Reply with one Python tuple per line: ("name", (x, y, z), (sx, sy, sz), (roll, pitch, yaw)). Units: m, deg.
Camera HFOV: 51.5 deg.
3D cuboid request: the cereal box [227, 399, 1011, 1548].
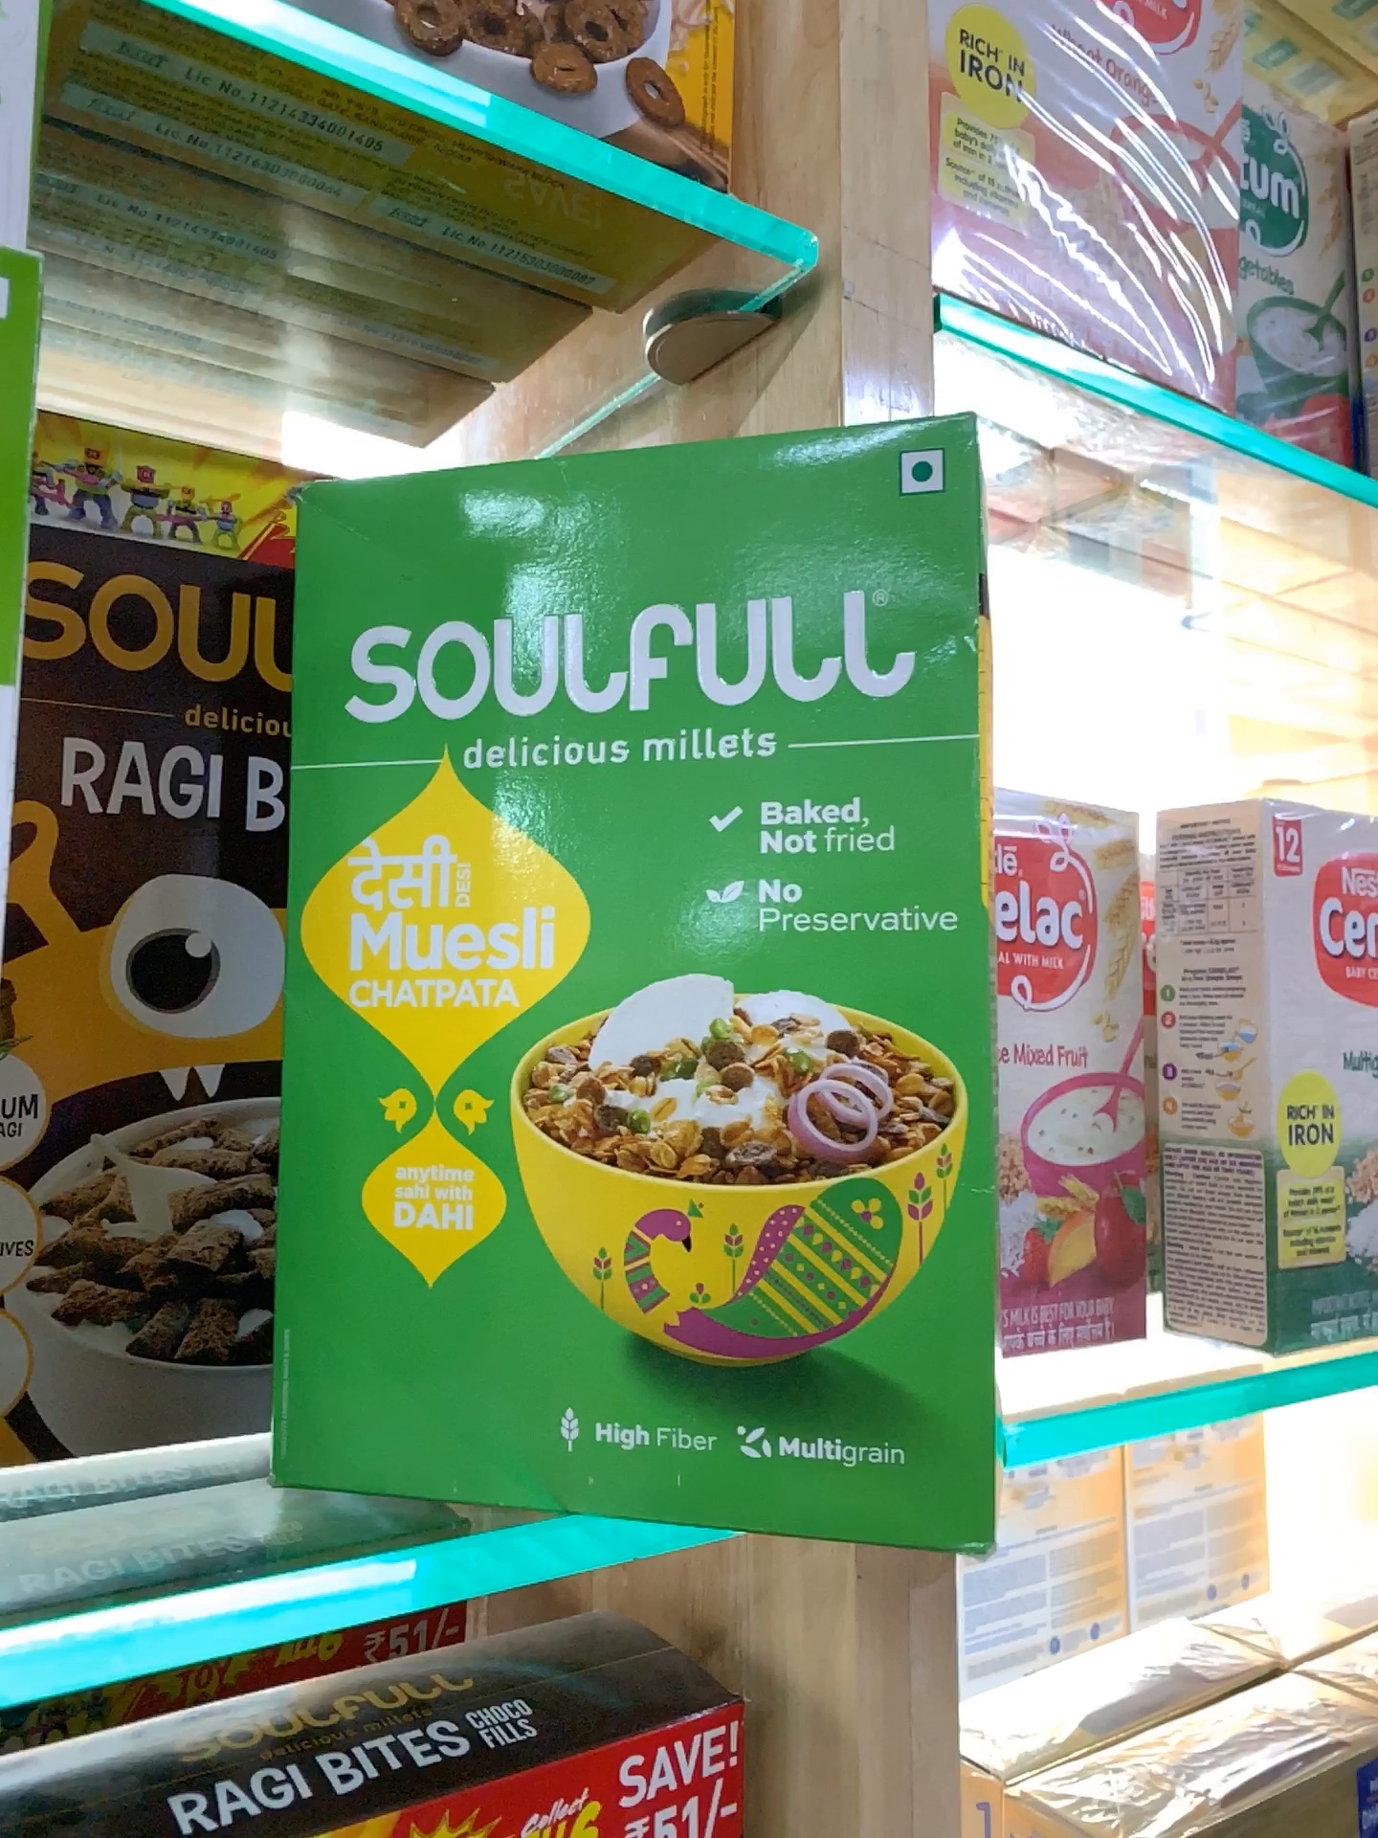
("cereal box", (-0.012, 0.010, 0.322), (0.160, 0.220, 0.060), (-1, -6, 14))
